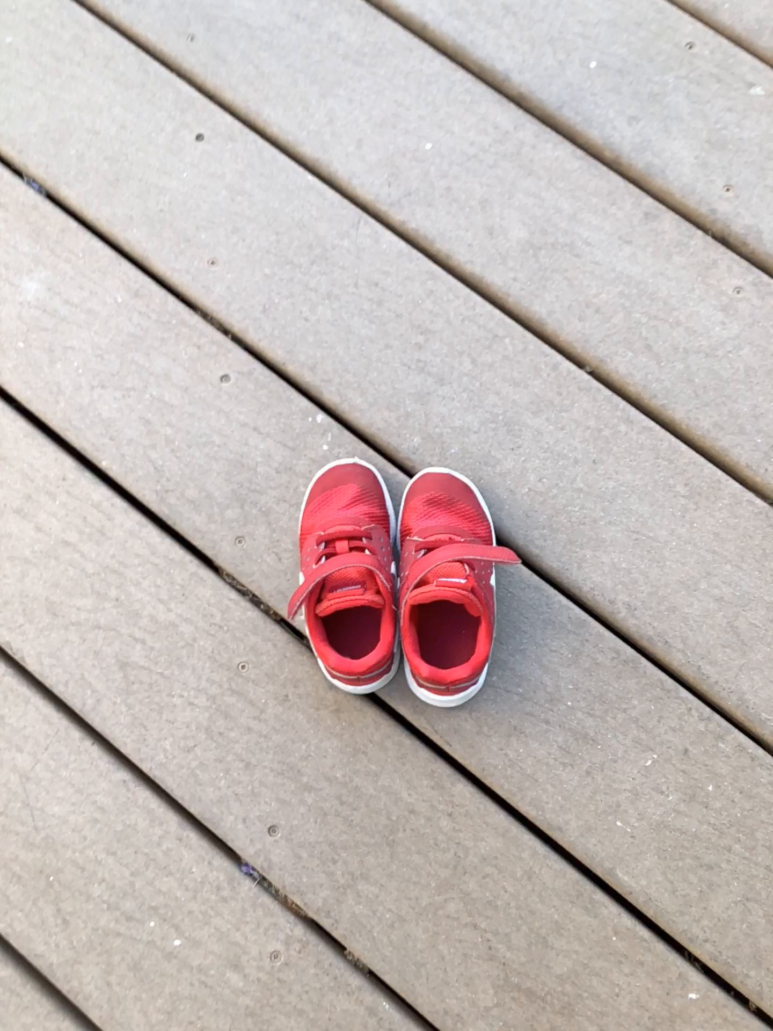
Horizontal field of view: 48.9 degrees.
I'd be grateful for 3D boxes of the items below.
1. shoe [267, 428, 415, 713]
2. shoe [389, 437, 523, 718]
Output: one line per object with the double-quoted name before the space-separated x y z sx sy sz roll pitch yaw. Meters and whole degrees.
"shoe" -0.028 0.039 0.560 0.077 0.087 0.167 -5 80 0
"shoe" 0.043 0.042 0.550 0.077 0.087 0.167 1 80 1
